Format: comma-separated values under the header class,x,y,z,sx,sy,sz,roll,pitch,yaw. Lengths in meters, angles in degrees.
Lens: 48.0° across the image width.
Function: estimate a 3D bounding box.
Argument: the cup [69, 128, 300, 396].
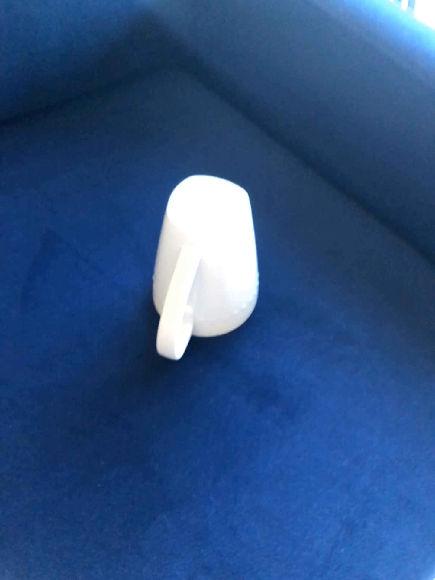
class,x,y,z,sx,sy,sz,roll,pitch,yaw
cup,-0.018,-0.023,0.363,0.110,0.090,0.150,18,56,4
